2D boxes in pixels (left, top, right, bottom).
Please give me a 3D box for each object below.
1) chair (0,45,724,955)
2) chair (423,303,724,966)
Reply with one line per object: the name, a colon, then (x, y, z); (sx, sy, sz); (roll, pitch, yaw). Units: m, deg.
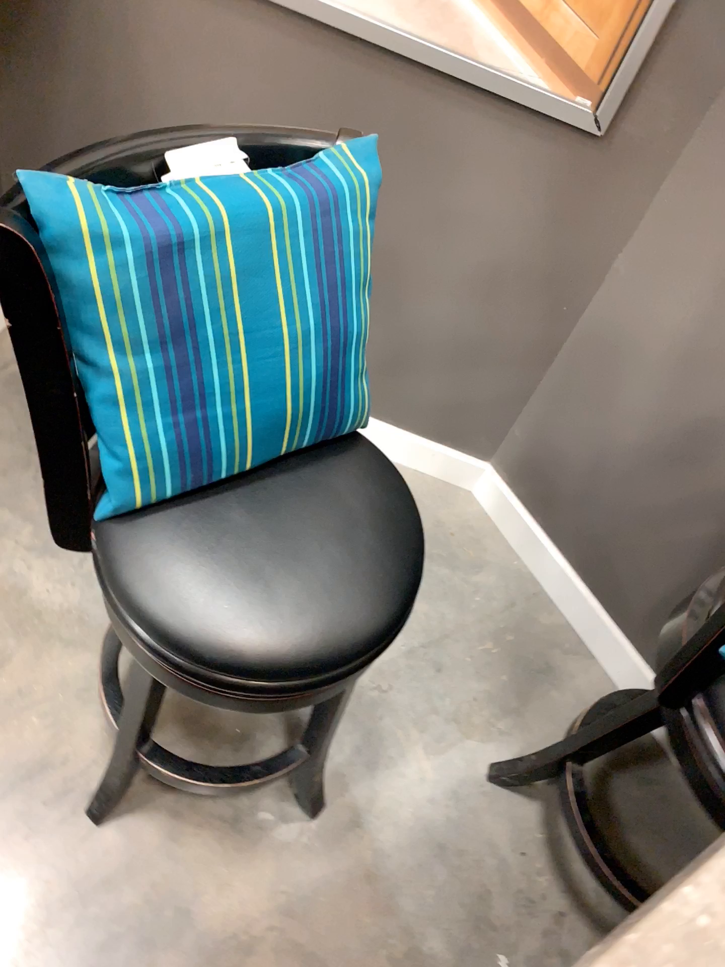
chair: (-0.166, 0.078, 0.944); (0.536, 0.905, 0.596); (-16, 59, -30)
chair: (0.608, 0.334, 1.056); (0.536, 0.925, 0.596); (-16, 59, -30)
